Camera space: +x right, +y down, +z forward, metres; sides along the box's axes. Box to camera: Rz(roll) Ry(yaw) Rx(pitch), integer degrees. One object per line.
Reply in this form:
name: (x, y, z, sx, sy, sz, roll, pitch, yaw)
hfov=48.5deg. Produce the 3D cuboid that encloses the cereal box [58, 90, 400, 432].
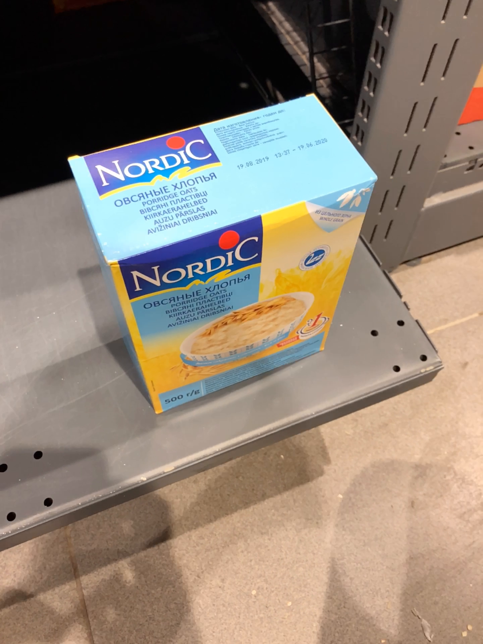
cereal box: (-0.008, -0.027, 0.341, 0.150, 0.179, 0.080, -20, 60, -14)
